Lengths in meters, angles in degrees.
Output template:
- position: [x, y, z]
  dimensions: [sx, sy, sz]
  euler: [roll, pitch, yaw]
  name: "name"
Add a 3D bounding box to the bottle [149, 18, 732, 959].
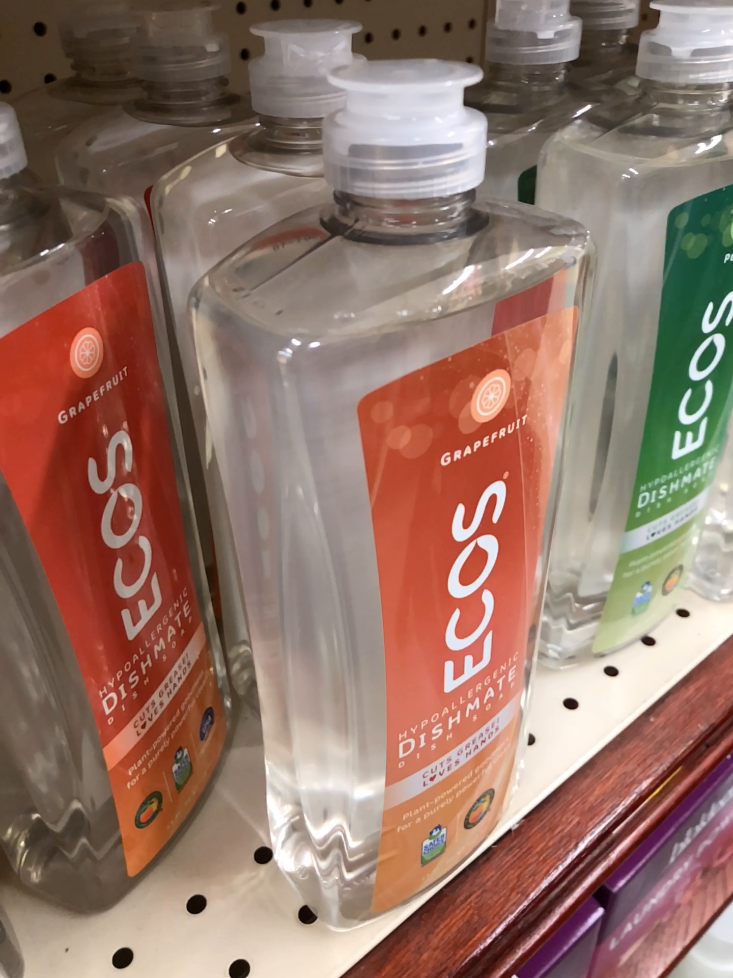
- position: [0.017, 0.015, 0.205]
  dimensions: [0.092, 0.219, 0.050]
  euler: [-27, 44, -31]
  name: "bottle"
